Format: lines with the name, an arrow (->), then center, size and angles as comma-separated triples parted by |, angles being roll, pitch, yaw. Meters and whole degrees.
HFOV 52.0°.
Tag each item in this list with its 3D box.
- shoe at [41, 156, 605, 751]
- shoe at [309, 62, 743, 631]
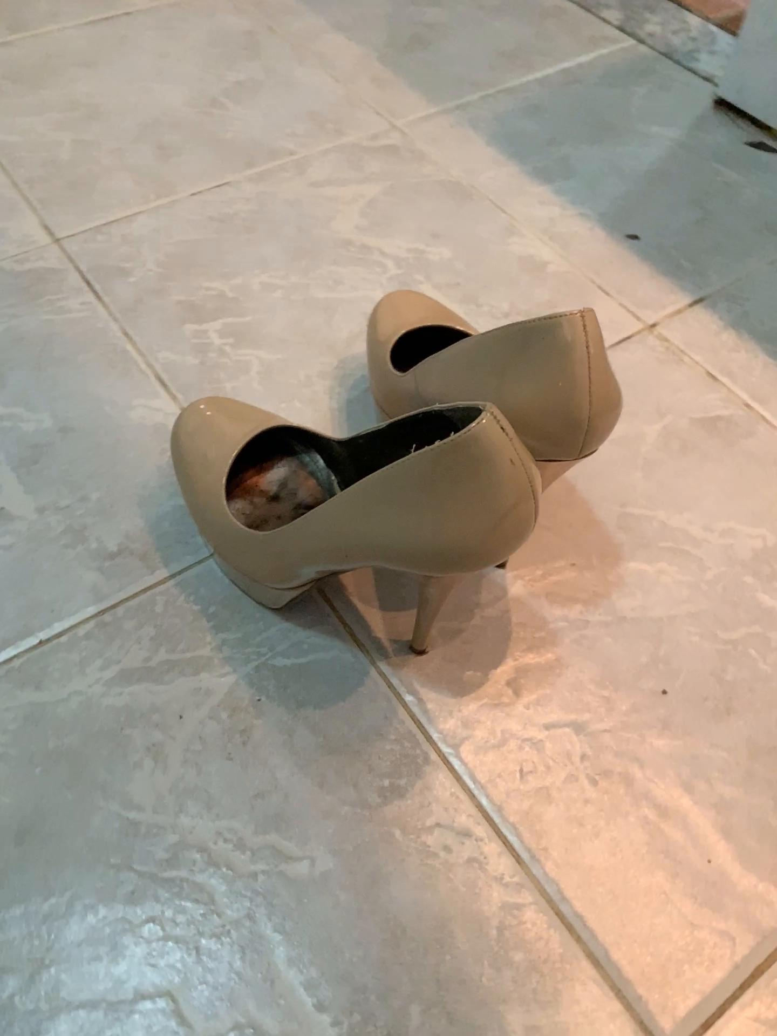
shoe -> -0.035, -0.026, 0.362 | 0.210, 0.166, 0.087 | 39, 61, 22
shoe -> 0.042, -0.086, 0.406 | 0.087, 0.176, 0.211 | -19, 58, -17
